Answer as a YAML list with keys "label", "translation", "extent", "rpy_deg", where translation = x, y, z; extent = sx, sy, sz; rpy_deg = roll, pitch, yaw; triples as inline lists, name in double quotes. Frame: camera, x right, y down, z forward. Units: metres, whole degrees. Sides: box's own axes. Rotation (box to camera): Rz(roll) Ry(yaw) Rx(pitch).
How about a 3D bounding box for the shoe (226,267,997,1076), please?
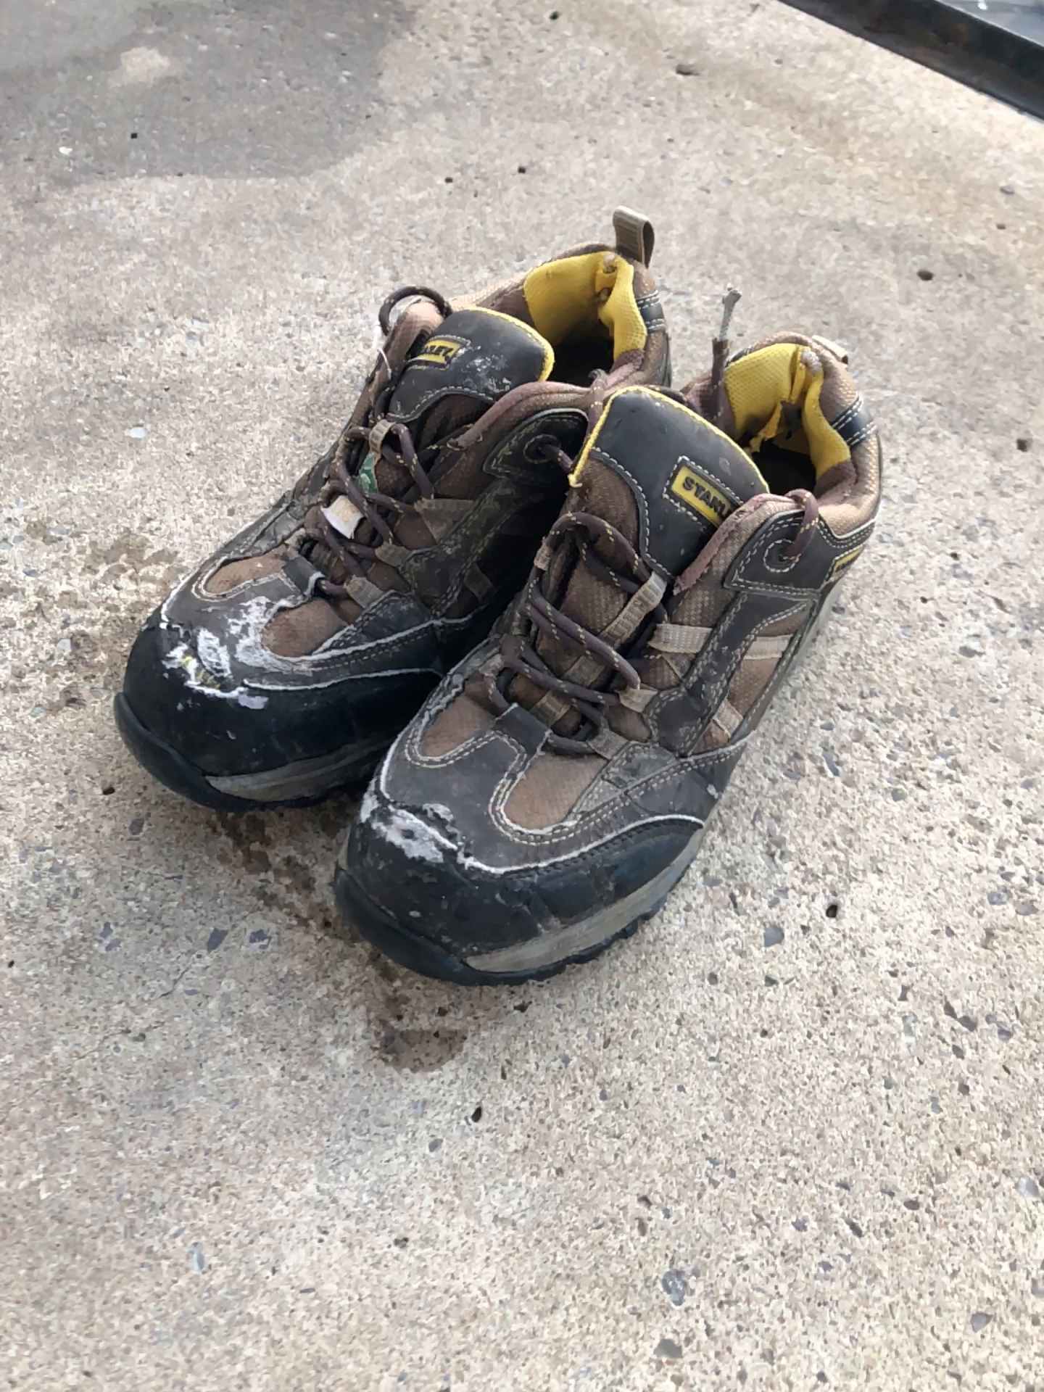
- label: "shoe"
  translation: [0.035, -0.009, 0.429]
  extent: [0.120, 0.169, 0.231]
  rpy_deg: [38, 64, 21]

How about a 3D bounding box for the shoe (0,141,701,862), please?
- label: "shoe"
  translation: [-0.055, -0.080, 0.461]
  extent: [0.100, 0.149, 0.251]
  rpy_deg: [38, 64, 21]
